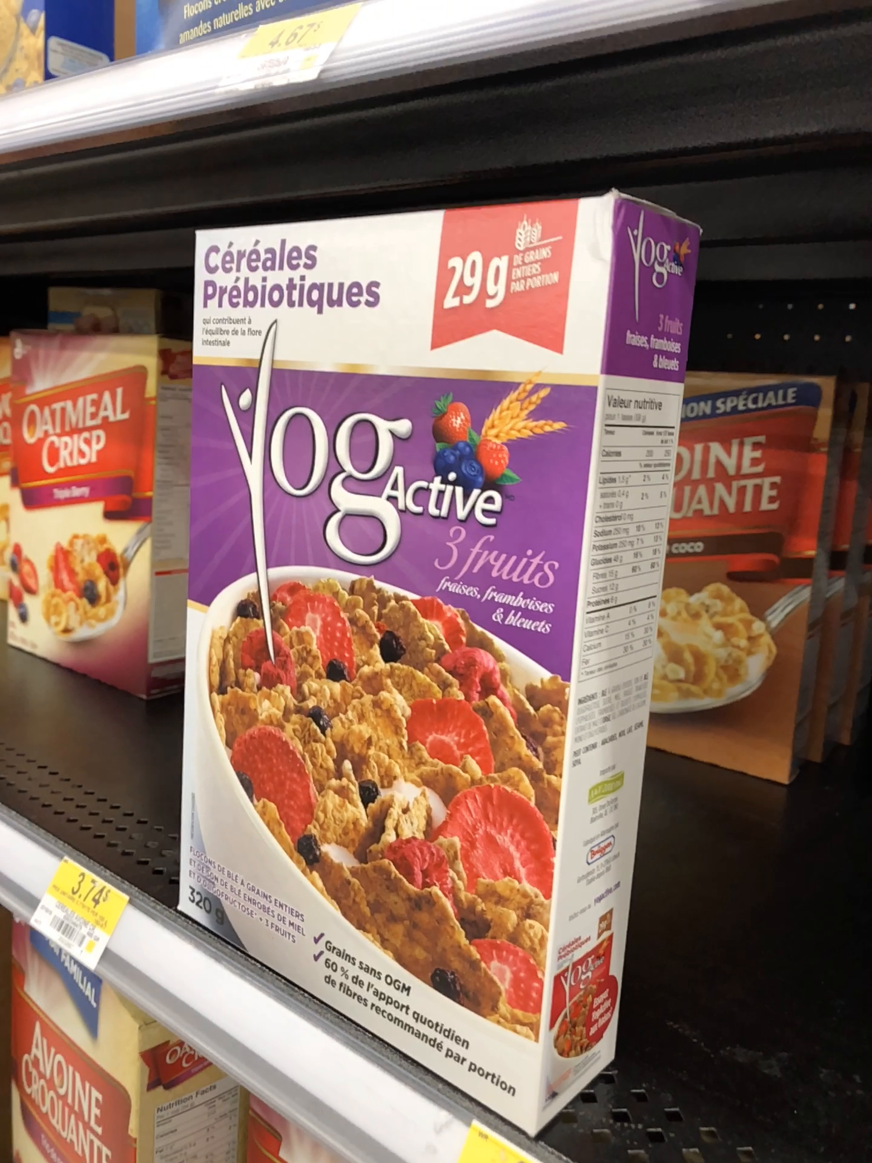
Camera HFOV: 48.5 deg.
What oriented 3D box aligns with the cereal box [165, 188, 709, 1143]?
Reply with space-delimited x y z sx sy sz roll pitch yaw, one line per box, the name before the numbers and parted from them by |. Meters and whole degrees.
cereal box | -0.017 0.016 0.356 0.190 0.279 0.060 12 14 39
